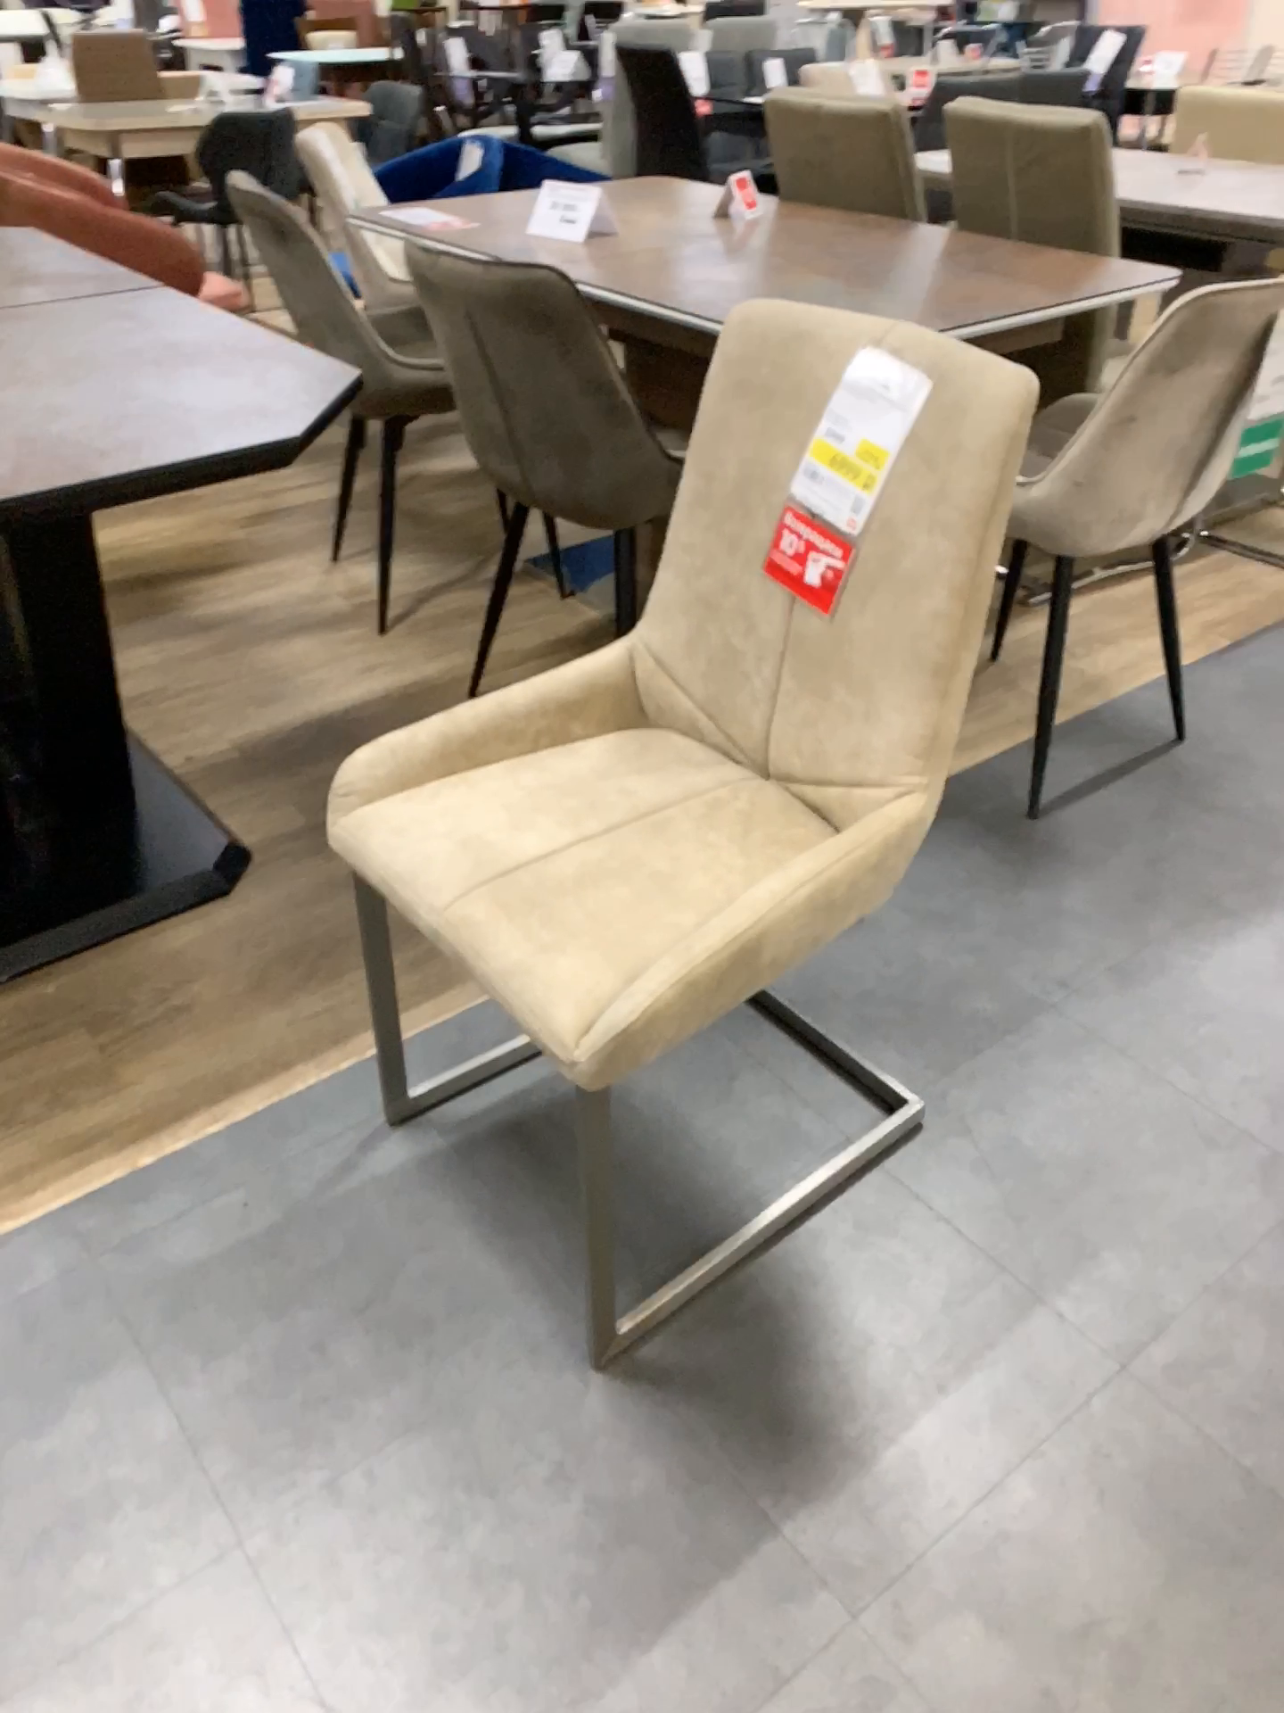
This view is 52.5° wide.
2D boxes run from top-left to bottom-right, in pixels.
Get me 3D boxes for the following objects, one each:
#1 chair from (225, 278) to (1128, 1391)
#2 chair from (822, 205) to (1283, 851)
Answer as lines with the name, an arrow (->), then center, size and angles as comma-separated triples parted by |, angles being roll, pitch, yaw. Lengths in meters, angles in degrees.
chair -> 0.026, -0.055, 1.361 | 0.585, 0.887, 0.511 | -24, 40, -31
chair -> 0.728, -0.581, 2.205 | 0.481, 0.842, 0.625 | -23, 40, -30
